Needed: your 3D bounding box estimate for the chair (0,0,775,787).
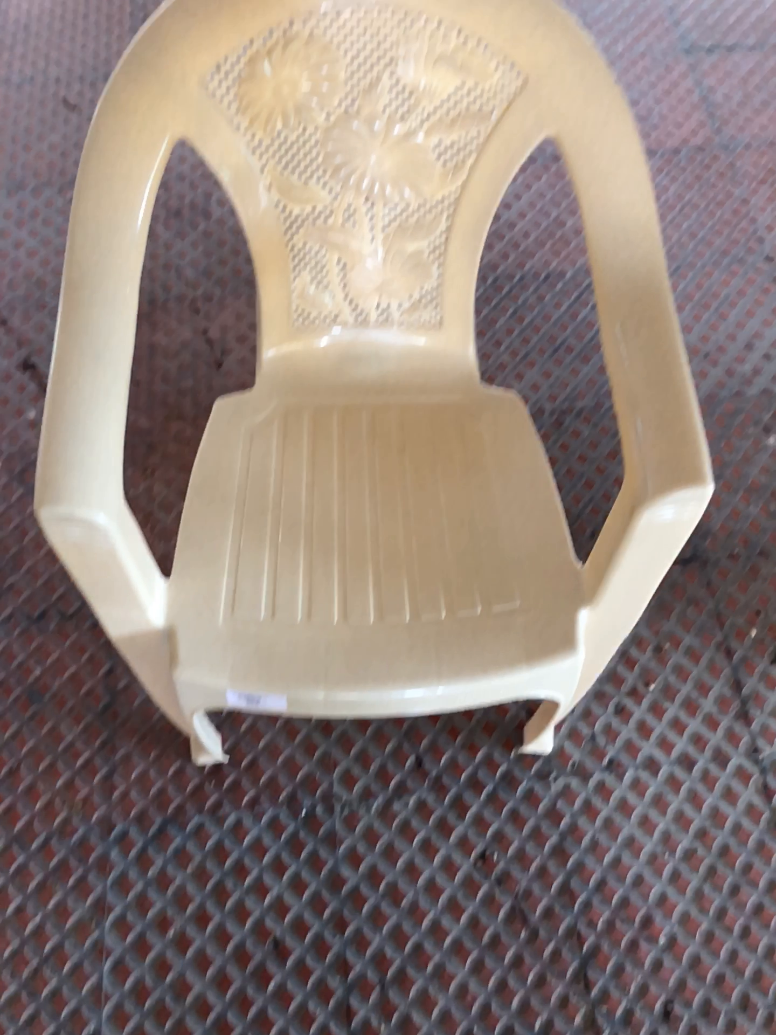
[{"bbox_3d":[-0.033,-0.095,0.959,0.530,0.807,0.612,-2,63,-3],"label":"chair"}]
